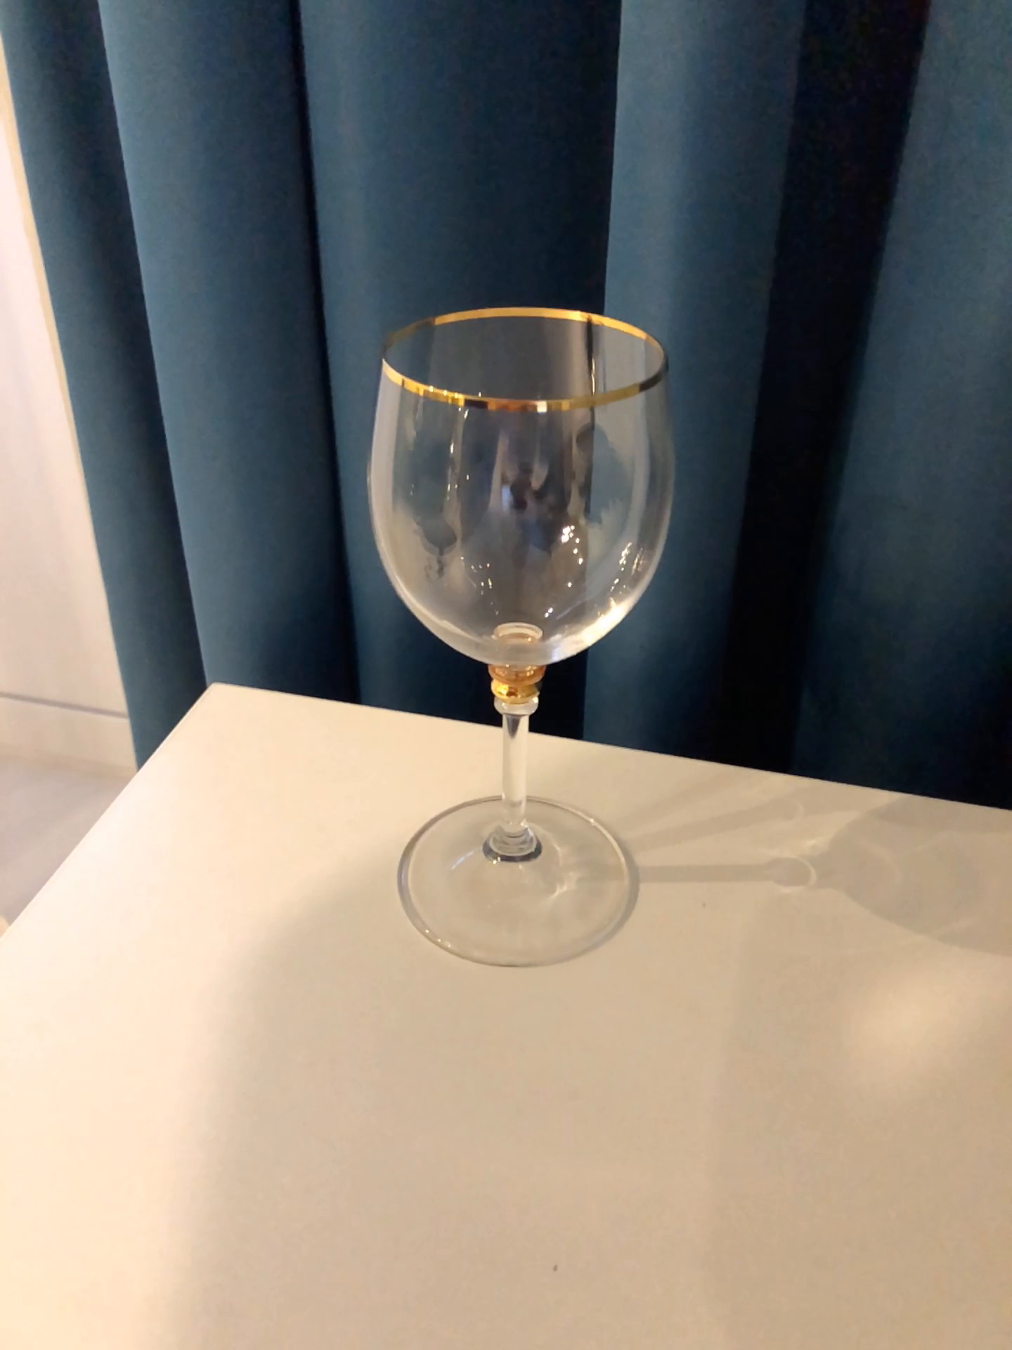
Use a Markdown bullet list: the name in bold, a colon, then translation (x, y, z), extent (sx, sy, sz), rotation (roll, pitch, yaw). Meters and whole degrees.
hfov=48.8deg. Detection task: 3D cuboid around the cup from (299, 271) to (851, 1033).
- **cup**: translation (0.016, -0.012, 0.332), extent (0.100, 0.179, 0.100), rotation (1, 31, 0)
